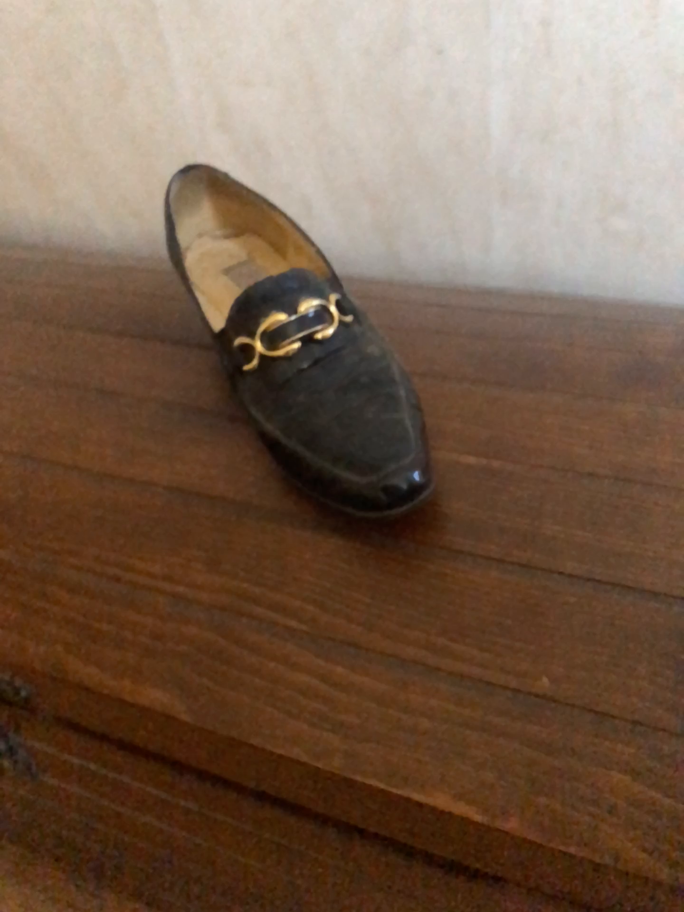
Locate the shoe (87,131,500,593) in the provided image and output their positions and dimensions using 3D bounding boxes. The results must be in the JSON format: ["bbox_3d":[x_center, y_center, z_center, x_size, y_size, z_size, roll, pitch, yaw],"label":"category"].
[{"bbox_3d":[-0.033,-0.064,0.382,0.090,0.099,0.241,-28,47,-15],"label":"shoe"}]
